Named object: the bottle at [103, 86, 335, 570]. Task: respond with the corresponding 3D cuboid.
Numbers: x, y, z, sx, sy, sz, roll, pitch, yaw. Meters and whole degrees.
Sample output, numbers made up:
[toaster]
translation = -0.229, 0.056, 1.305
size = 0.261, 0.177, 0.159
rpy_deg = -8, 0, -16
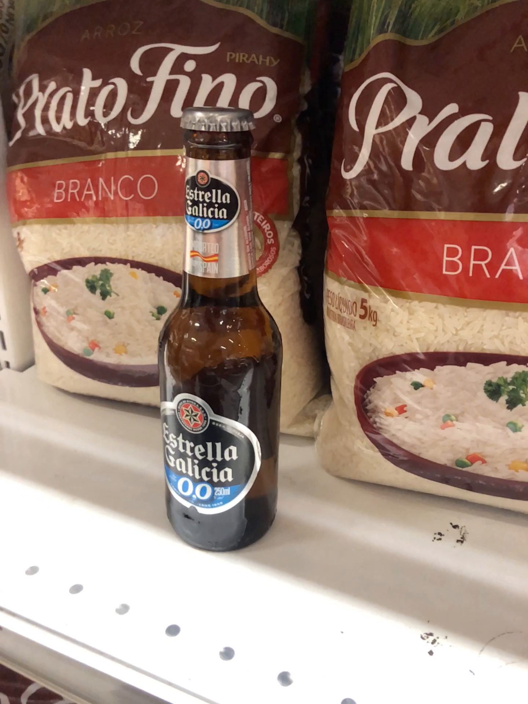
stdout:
[bottle]
translation = -0.016, -0.008, 0.252
size = 0.060, 0.189, 0.060
rpy_deg = 1, 26, -1
